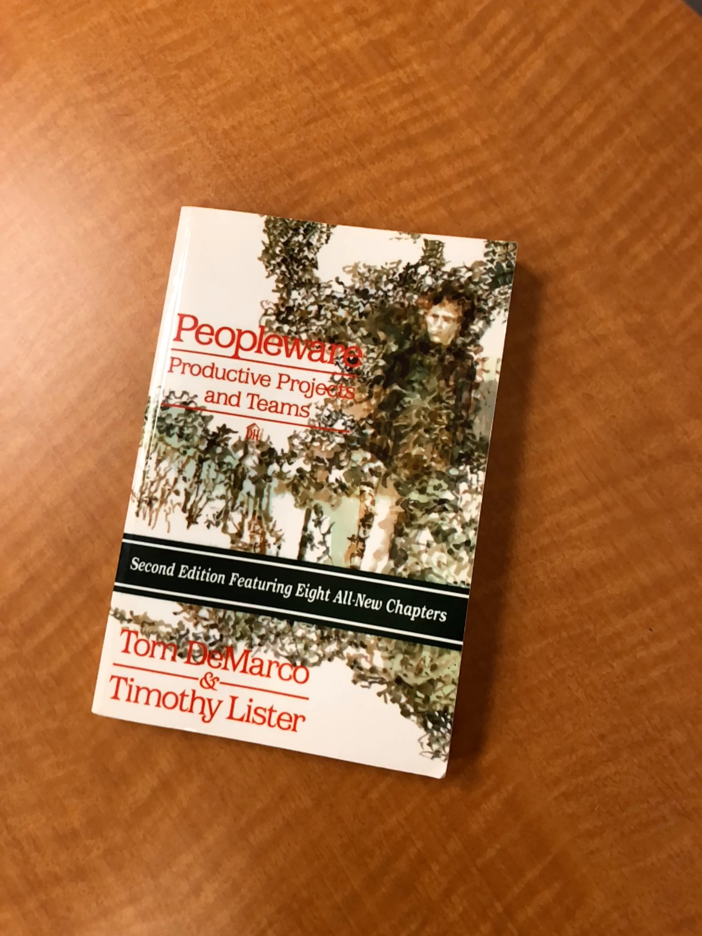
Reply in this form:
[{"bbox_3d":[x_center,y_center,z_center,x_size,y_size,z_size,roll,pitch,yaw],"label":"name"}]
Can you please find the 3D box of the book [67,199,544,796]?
[{"bbox_3d":[-0.015,0.007,0.337,0.160,0.050,0.220,8,83,5],"label":"book"}]
